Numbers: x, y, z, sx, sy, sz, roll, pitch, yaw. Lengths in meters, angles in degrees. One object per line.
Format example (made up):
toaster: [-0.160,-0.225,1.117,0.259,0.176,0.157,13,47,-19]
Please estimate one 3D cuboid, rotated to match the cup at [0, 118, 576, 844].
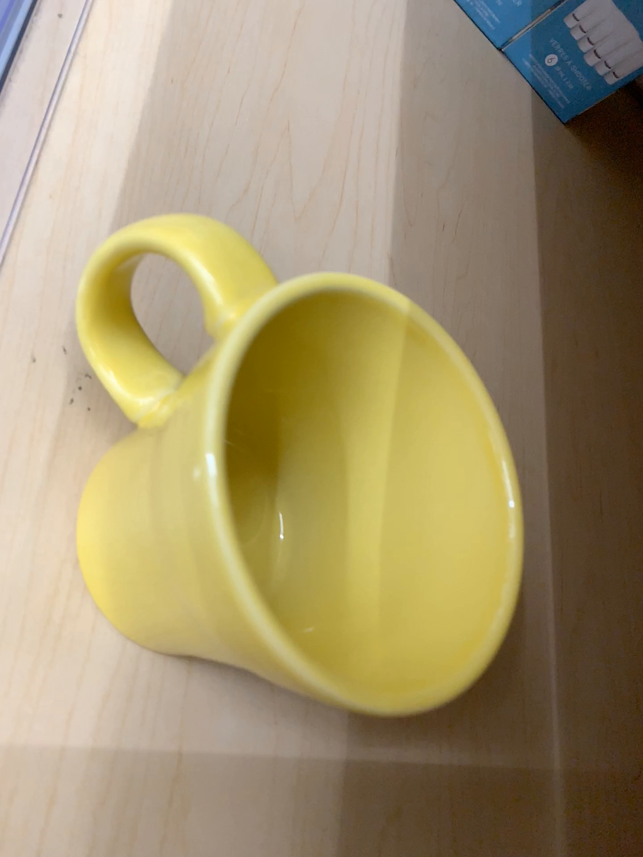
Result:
cup: [-0.015,0.013,0.187,0.139,0.088,0.104,56,47,-12]
